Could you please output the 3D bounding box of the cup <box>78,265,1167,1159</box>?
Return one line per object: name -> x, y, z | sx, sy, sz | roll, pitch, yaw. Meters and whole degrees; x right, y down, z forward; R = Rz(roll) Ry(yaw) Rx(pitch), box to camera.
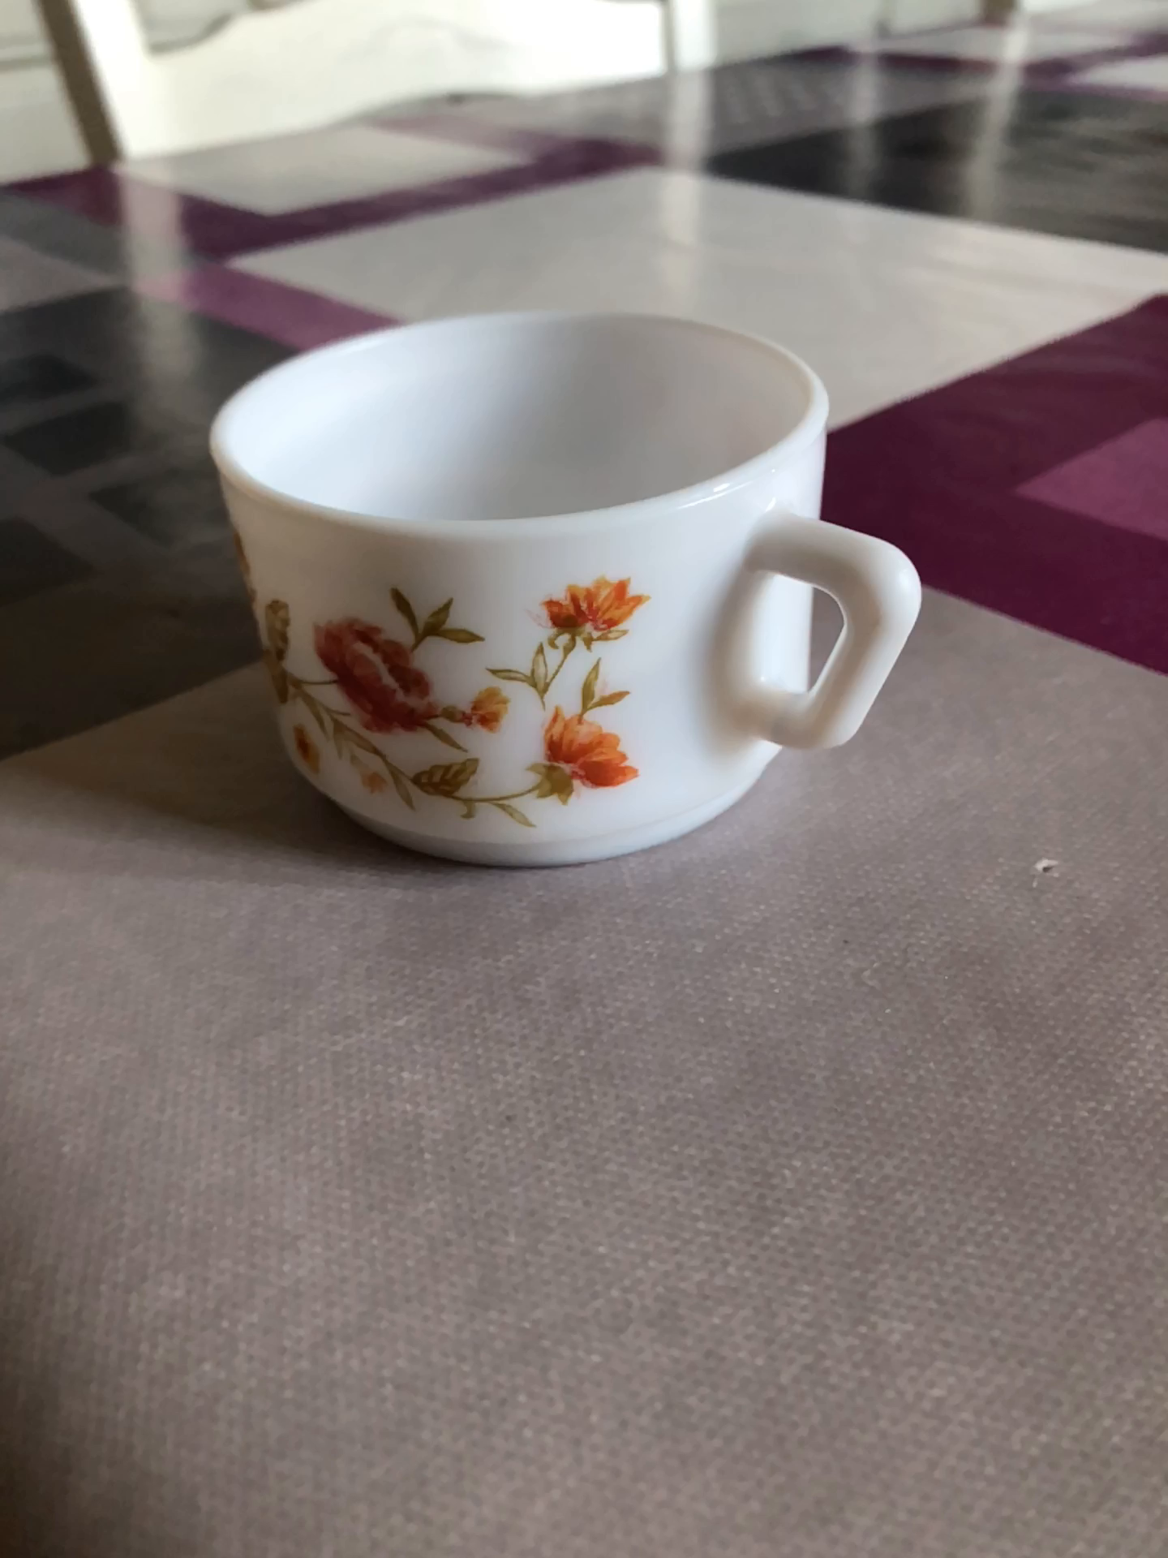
cup -> 0.005, -0.023, 0.167 | 0.080, 0.050, 0.110 | -30, 42, -33
